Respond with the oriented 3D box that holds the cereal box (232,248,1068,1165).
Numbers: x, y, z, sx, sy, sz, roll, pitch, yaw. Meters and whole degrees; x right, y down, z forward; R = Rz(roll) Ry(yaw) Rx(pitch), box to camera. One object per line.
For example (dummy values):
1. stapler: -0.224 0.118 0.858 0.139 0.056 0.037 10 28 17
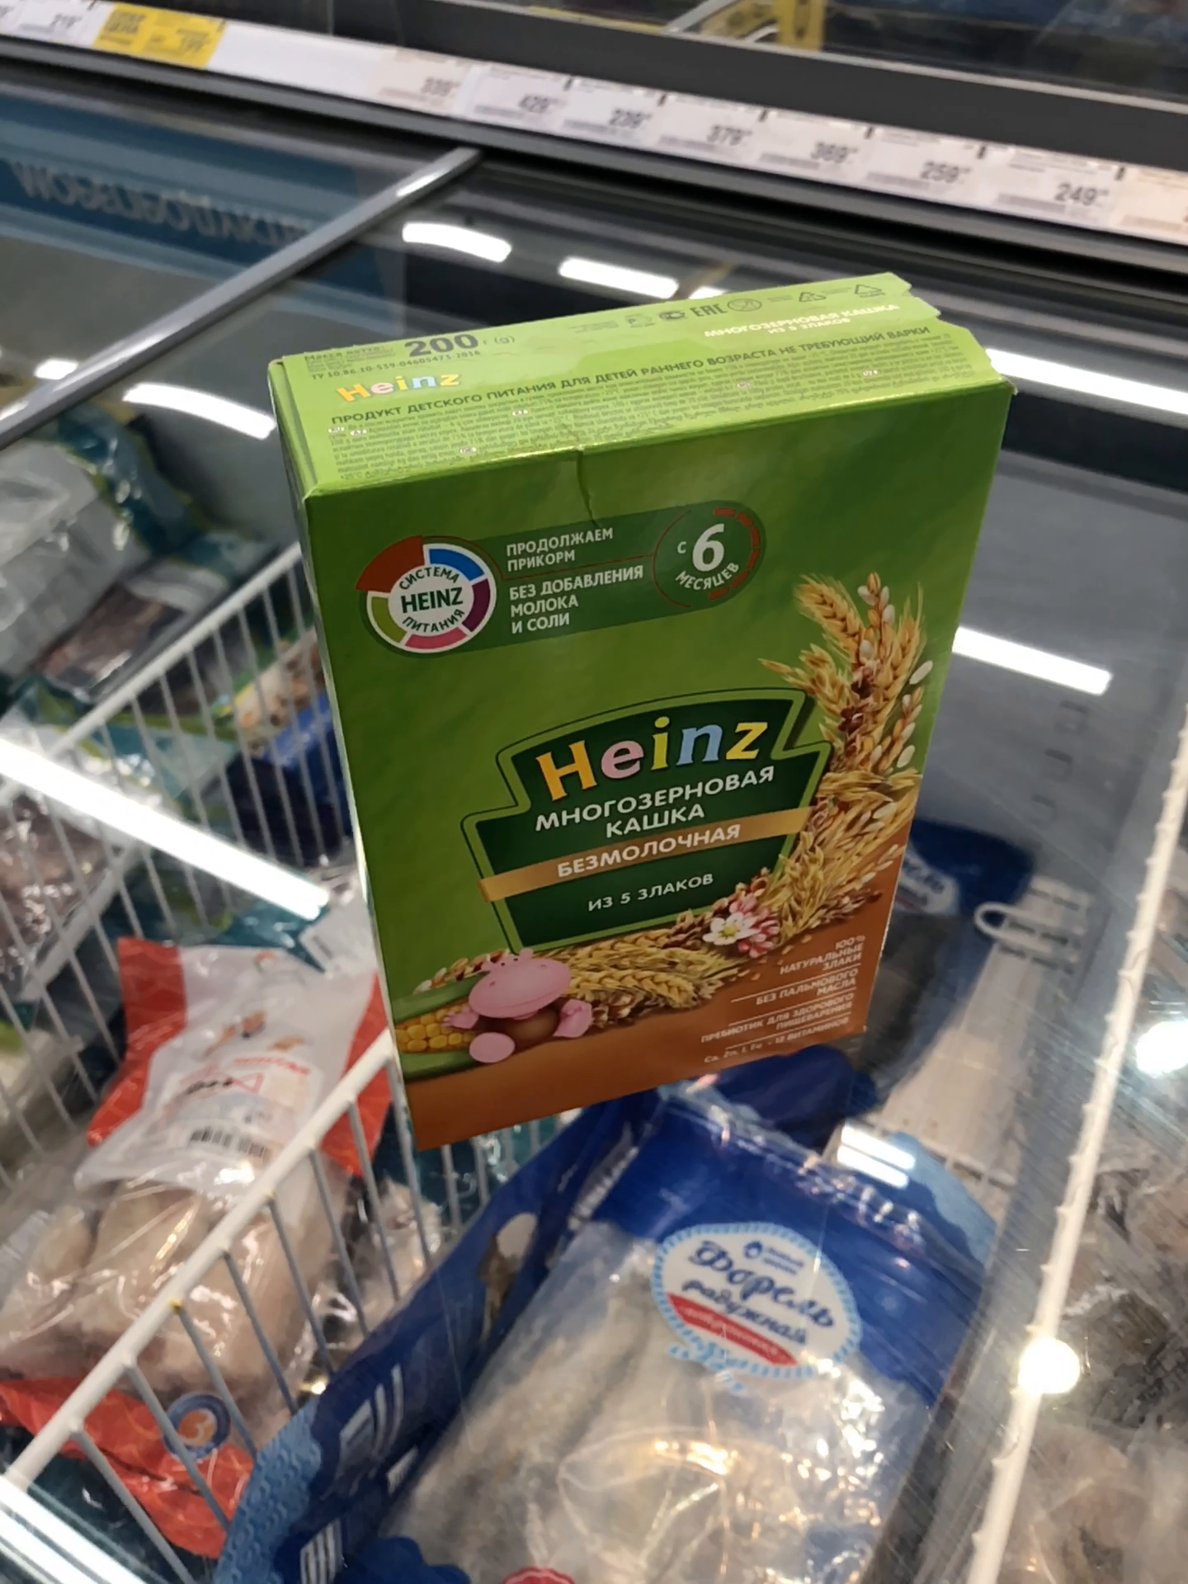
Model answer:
1. cereal box: 0.010 -0.007 0.303 0.140 0.199 0.050 -12 45 -12
